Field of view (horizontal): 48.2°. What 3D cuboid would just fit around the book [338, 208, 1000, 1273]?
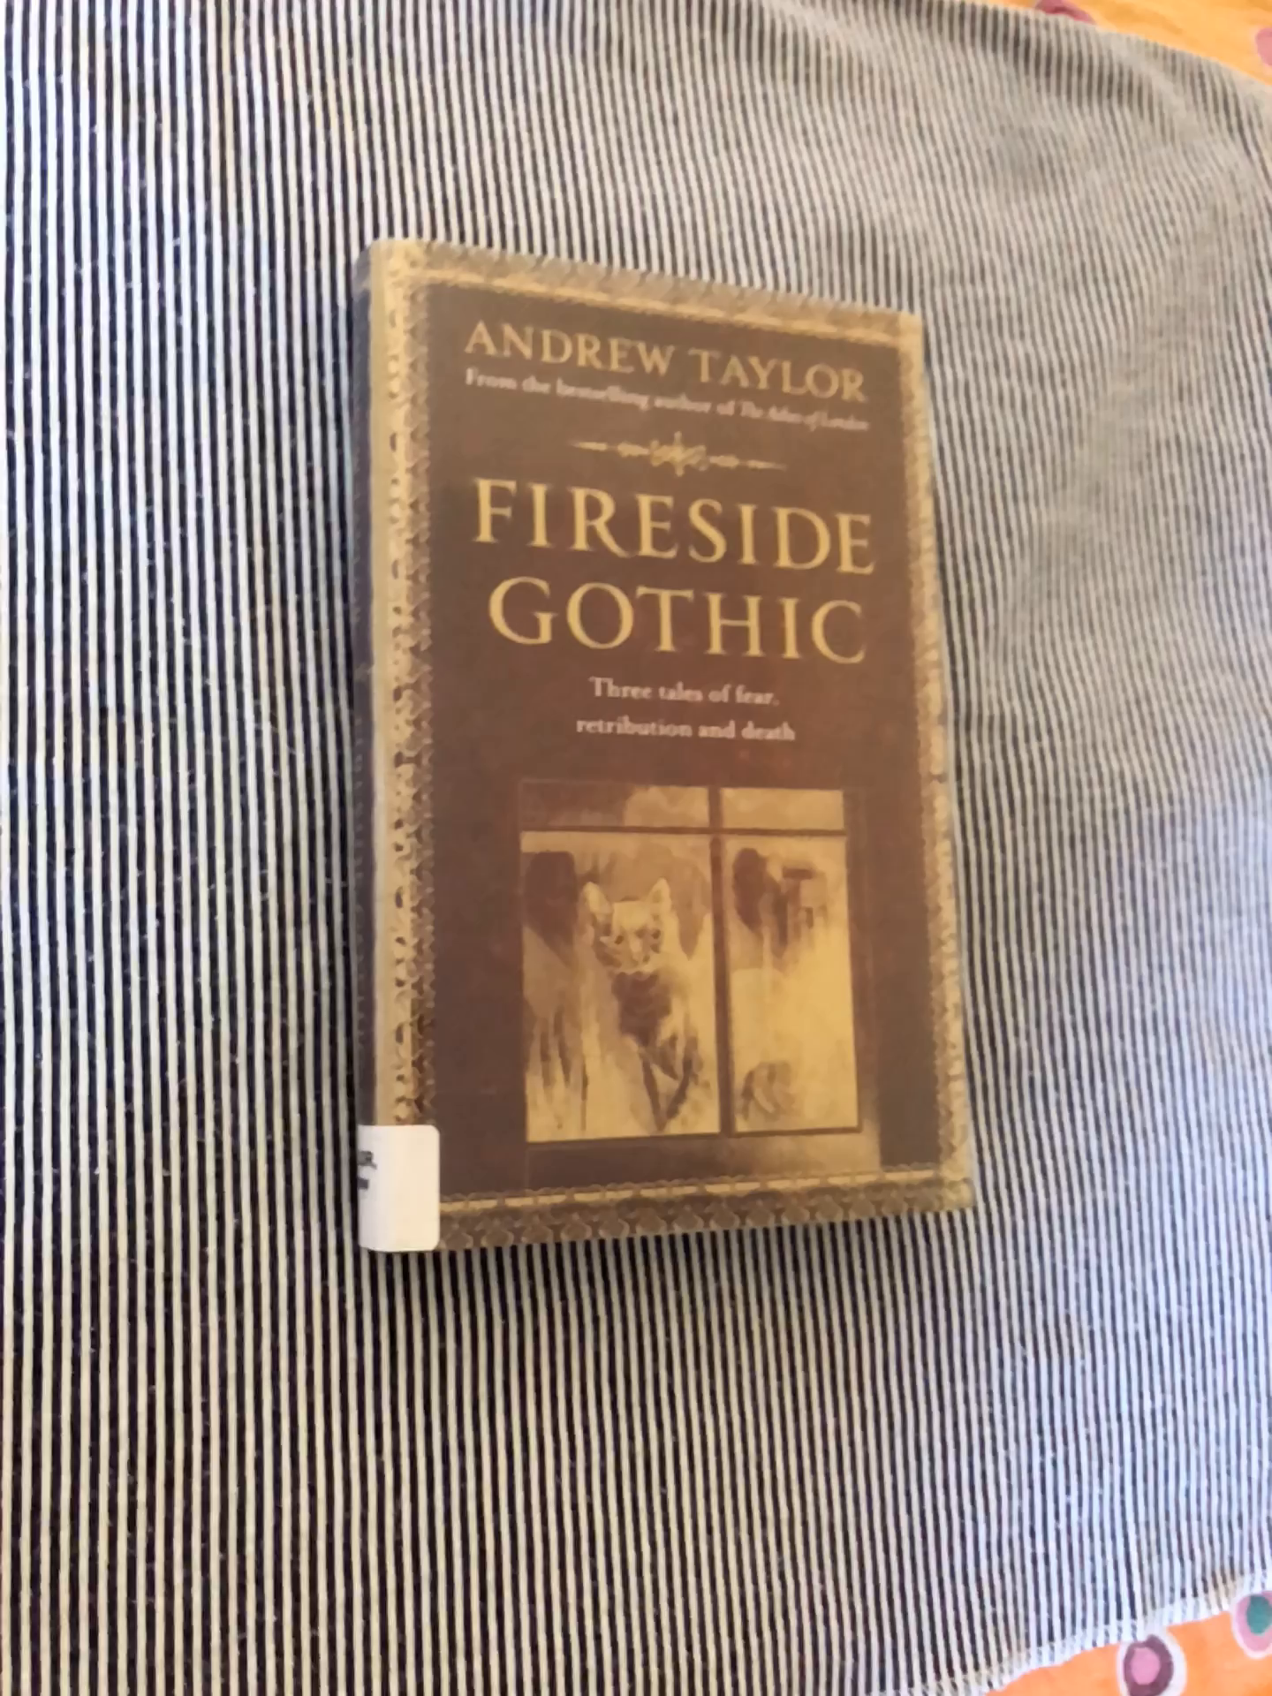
[{"bbox_3d":[0.007,-0.024,0.320,0.139,0.027,0.217,1,82,-21],"label":"book"}]
